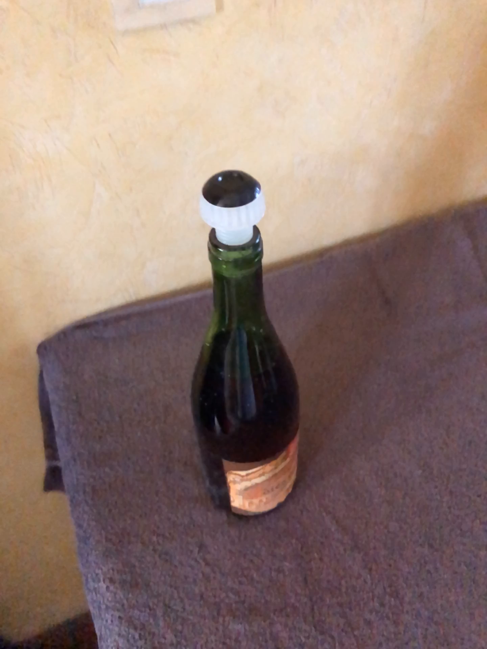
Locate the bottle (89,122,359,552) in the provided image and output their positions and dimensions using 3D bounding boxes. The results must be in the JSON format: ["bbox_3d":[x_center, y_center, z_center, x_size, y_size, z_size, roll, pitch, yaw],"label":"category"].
[{"bbox_3d":[-0.001,0.038,0.370,0.090,0.308,0.090,-2,49,2],"label":"bottle"}]
